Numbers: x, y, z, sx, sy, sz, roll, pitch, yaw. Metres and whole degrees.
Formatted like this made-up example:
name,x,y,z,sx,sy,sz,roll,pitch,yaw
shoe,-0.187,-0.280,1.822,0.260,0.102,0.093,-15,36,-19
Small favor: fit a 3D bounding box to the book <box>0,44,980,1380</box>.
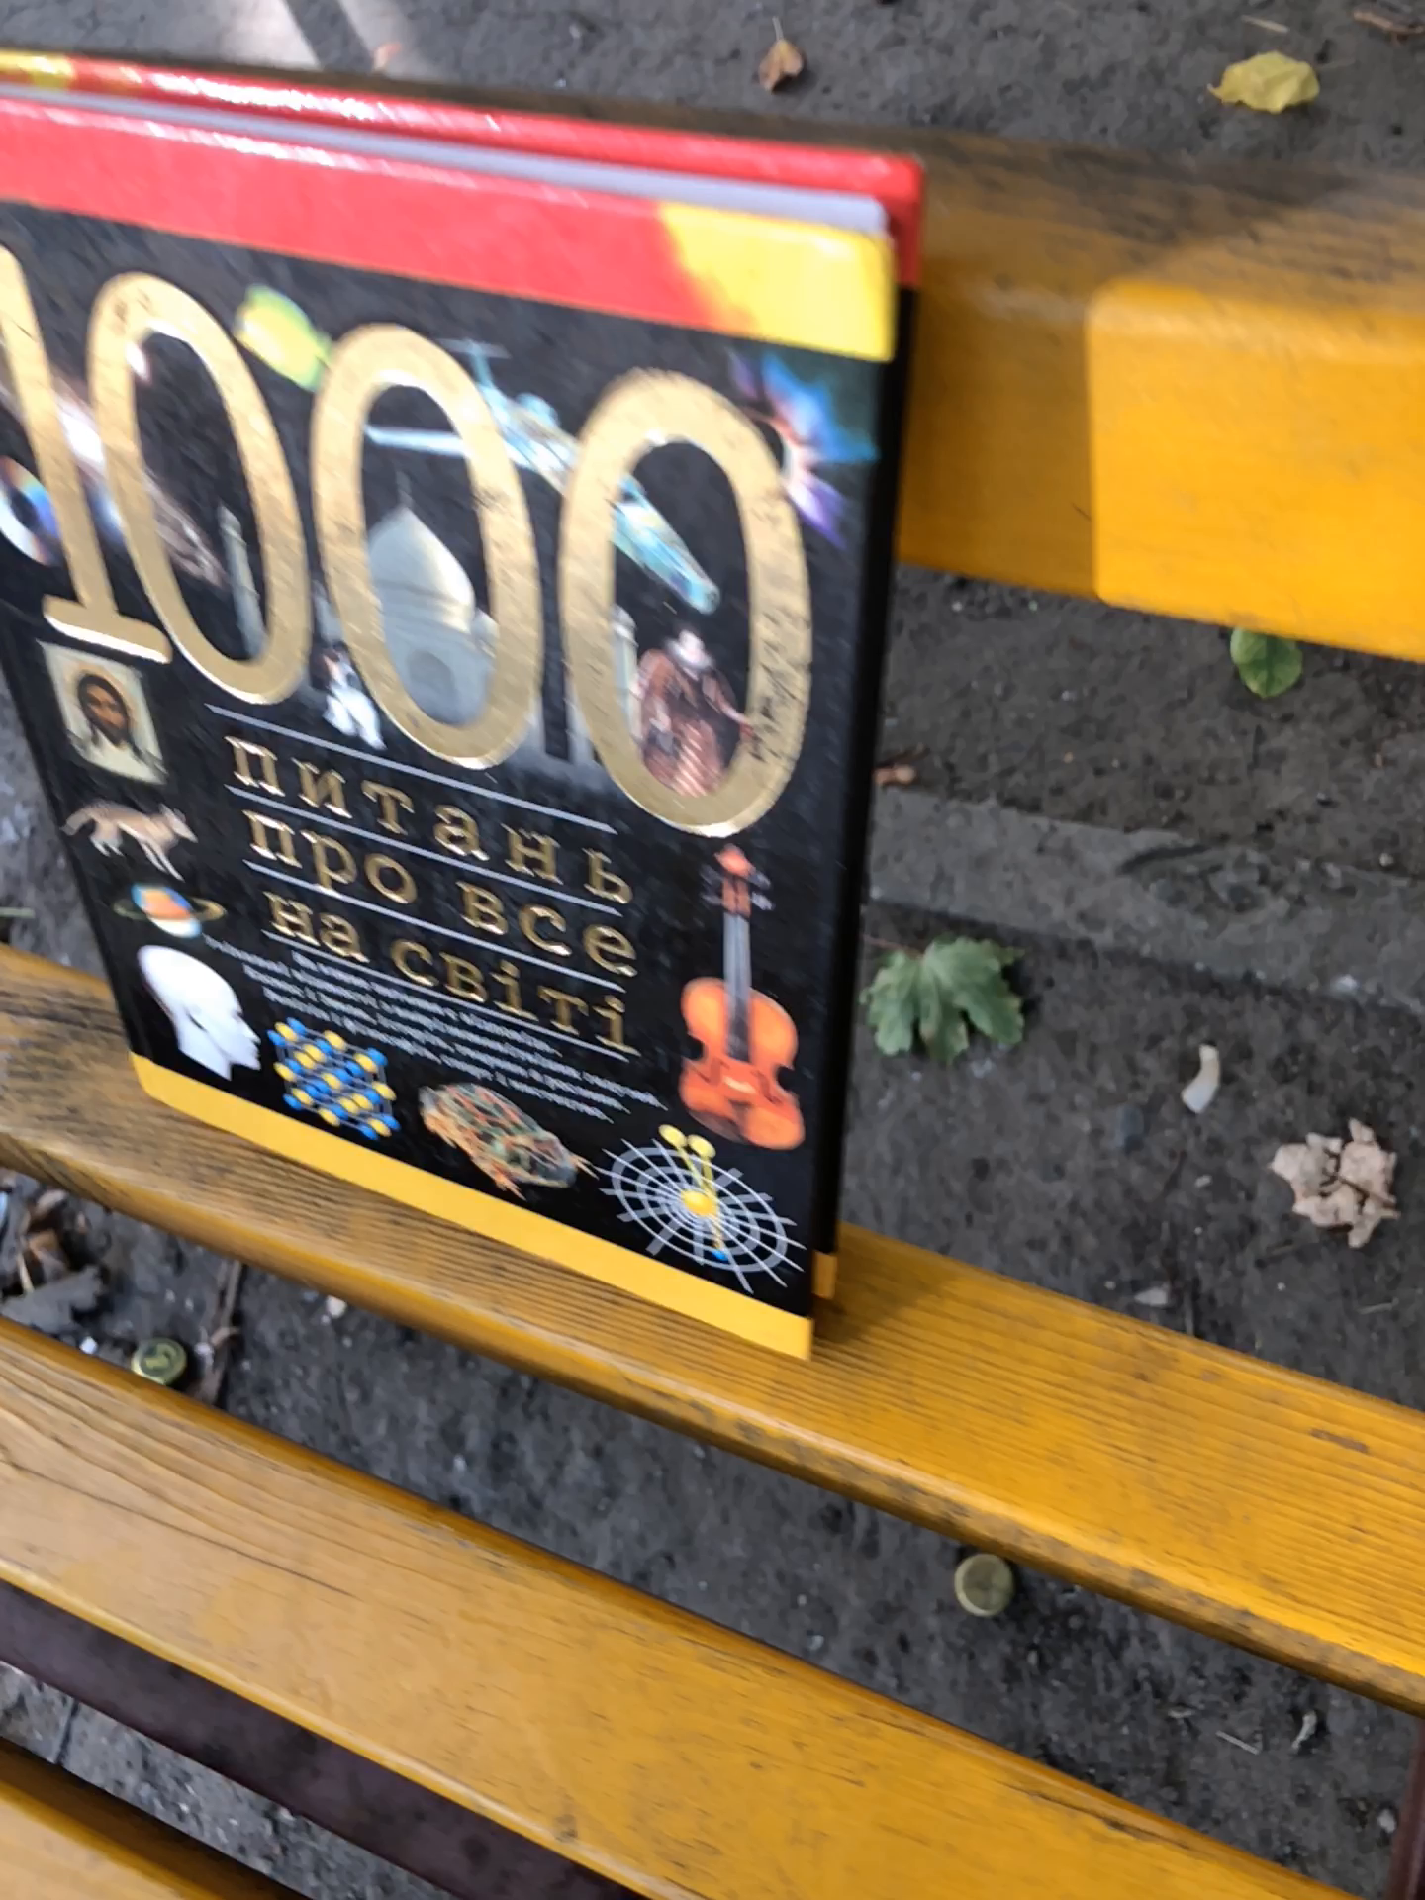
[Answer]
name,x,y,z,sx,sy,sz,roll,pitch,yaw
book,-0.053,-0.029,0.271,0.172,0.201,0.032,18,44,19
